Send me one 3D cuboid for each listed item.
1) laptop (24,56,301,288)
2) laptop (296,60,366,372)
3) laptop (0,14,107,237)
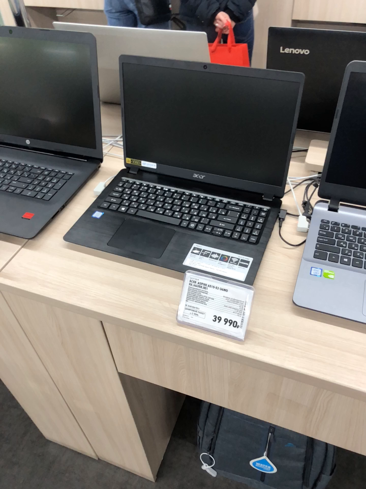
[{"bbox_3d":[-0.011,-0.147,0.703,0.346,0.219,0.292,14,47,18],"label":"laptop"},{"bbox_3d":[0.375,-0.070,0.572,0.327,0.219,0.325,13,49,19],"label":"laptop"},{"bbox_3d":[-0.405,-0.260,0.811,0.353,0.226,0.346,12,48,13],"label":"laptop"}]
